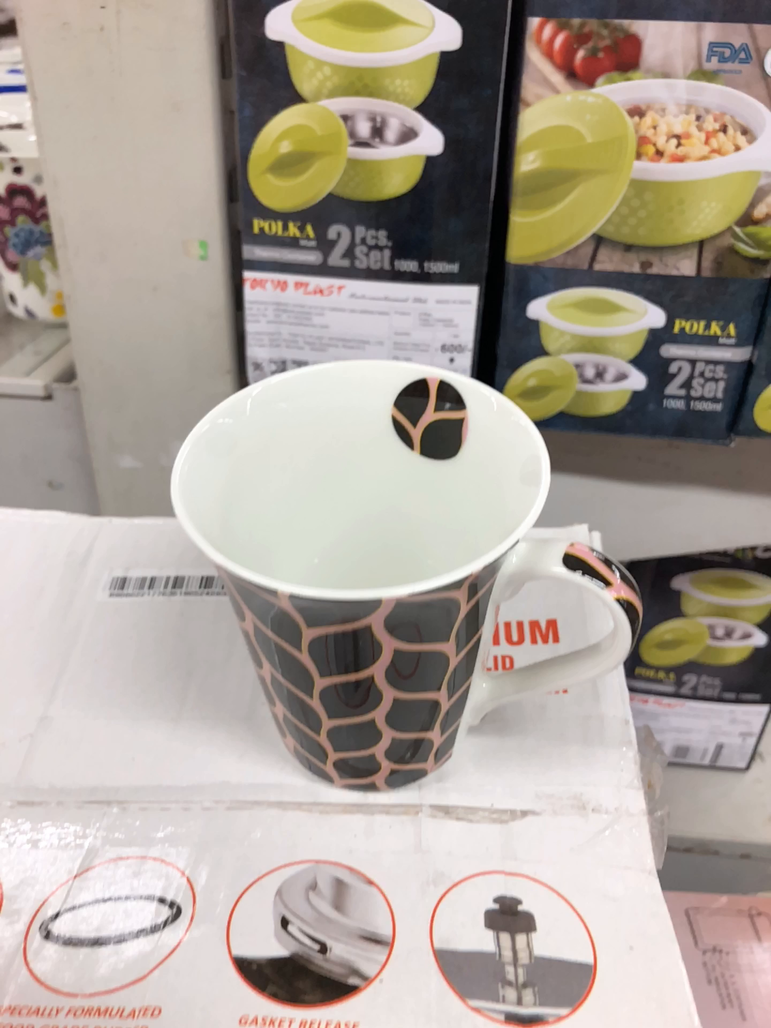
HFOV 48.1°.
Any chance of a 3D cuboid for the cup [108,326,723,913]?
[{"bbox_3d":[0.014,0.018,0.212,0.110,0.079,0.091,12,40,17],"label":"cup"}]
